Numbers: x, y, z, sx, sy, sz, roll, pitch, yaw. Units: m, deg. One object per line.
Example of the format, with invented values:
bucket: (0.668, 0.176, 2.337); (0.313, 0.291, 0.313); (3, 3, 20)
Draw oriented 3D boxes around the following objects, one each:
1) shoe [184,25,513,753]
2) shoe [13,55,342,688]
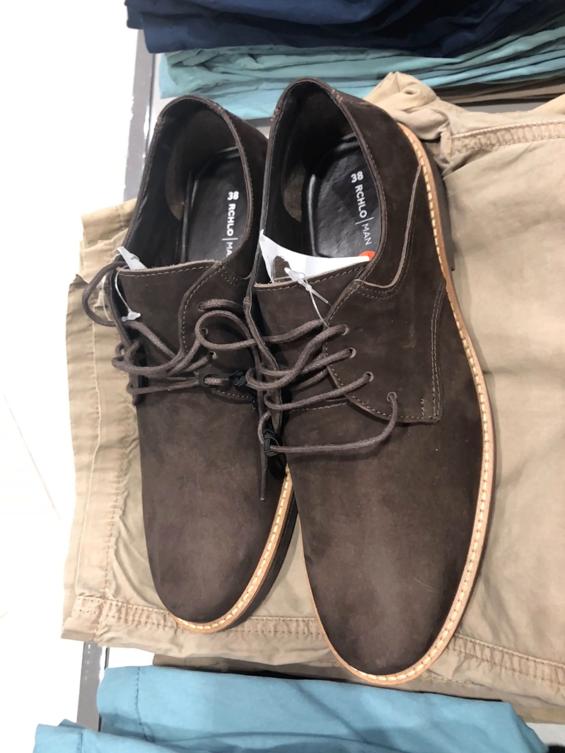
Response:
shoe: (0.030, 0.012, 0.280); (0.100, 0.110, 0.260); (-6, 80, 29)
shoe: (-0.047, -0.004, 0.330); (0.110, 0.110, 0.260); (2, 87, 26)
